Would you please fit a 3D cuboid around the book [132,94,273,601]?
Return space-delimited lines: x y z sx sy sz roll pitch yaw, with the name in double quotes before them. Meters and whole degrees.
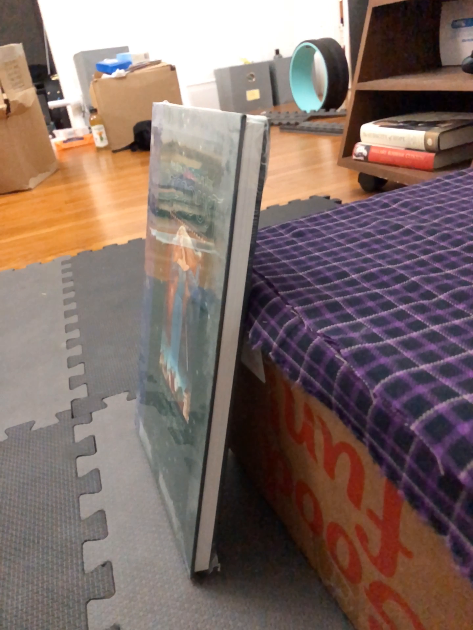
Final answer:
"book" -0.046 0.008 0.405 0.020 0.329 0.211 -1 21 -21
